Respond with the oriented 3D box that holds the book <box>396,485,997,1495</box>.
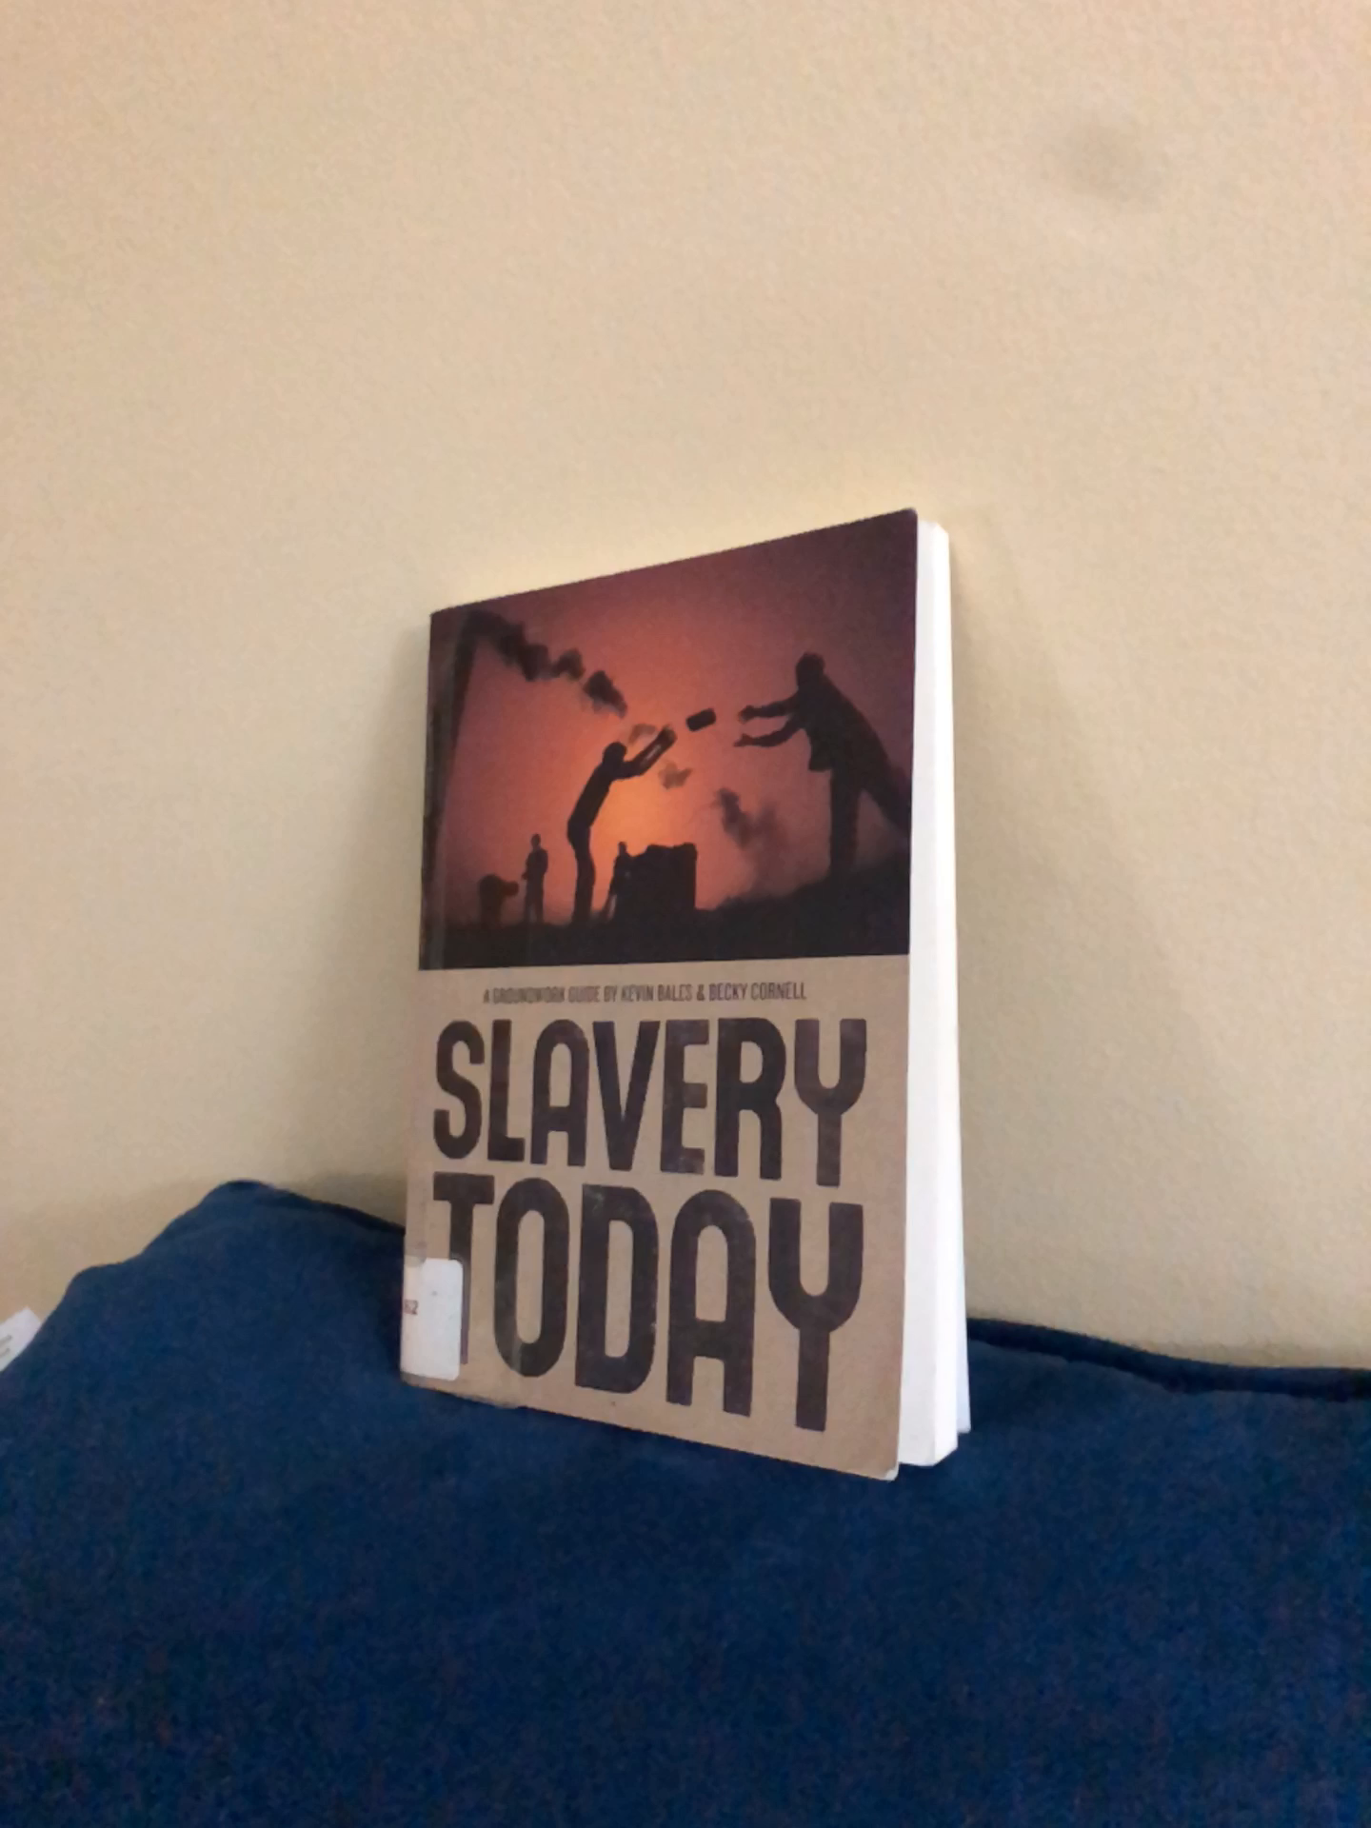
[{"bbox_3d":[-0.001,0.014,0.325,0.128,0.182,0.028,-4,-11,38],"label":"book"}]
